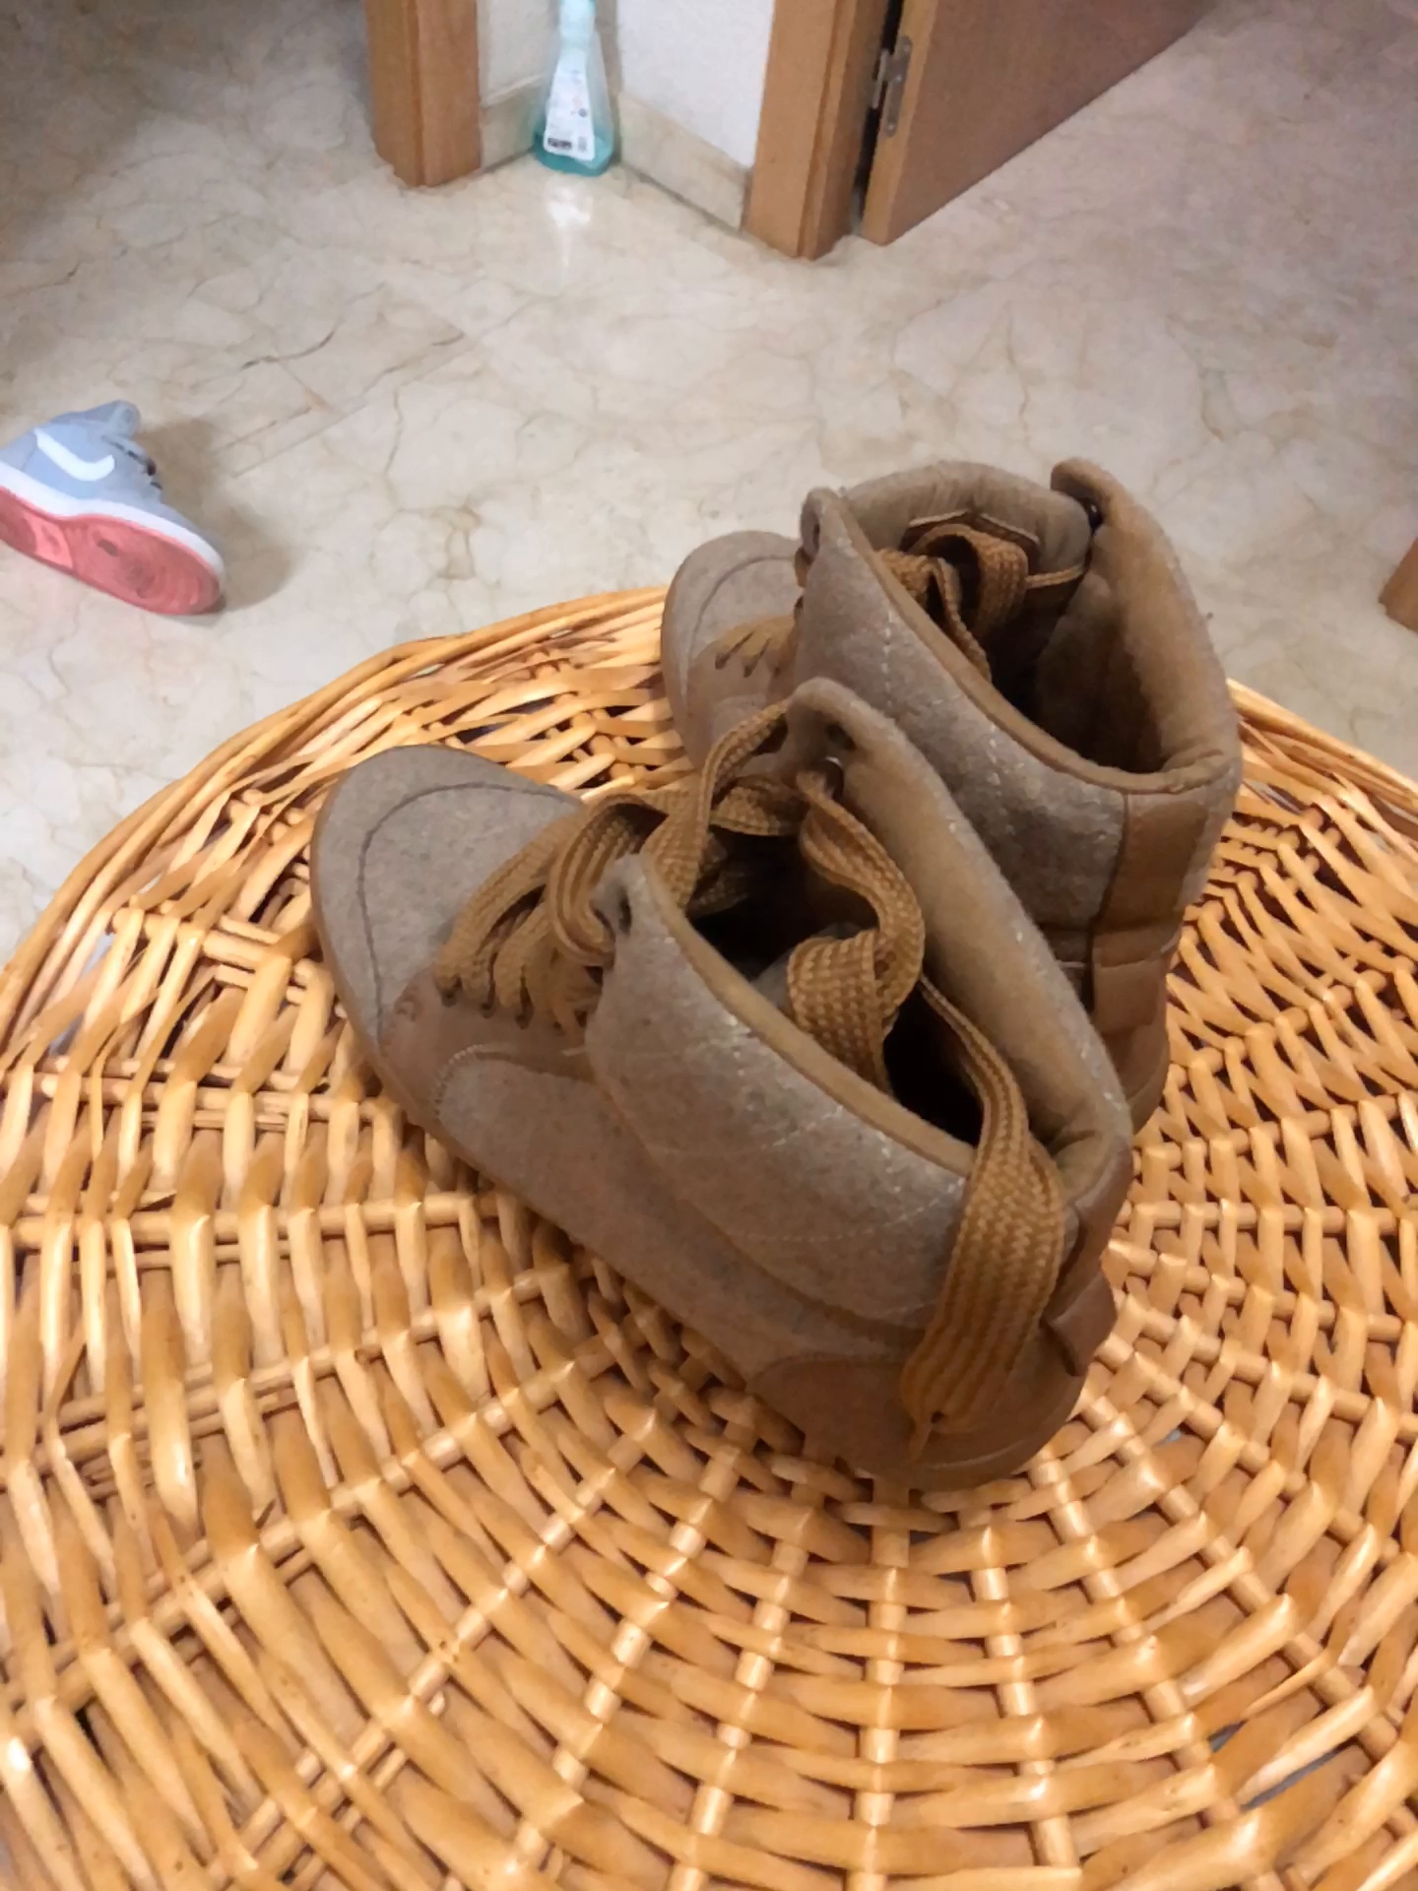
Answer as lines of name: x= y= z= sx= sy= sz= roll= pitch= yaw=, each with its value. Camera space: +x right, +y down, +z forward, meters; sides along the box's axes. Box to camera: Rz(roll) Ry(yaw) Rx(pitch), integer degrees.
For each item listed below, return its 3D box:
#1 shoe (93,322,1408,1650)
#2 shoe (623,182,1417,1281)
shoe: x=-0.009 y=0.011 z=0.349 sx=0.096 sy=0.168 sz=0.238 roll=-37 pitch=67 yaw=-27
shoe: x=0.061 y=-0.059 z=0.441 sx=0.079 sy=0.178 sz=0.239 roll=-16 pitch=59 yaw=-17
